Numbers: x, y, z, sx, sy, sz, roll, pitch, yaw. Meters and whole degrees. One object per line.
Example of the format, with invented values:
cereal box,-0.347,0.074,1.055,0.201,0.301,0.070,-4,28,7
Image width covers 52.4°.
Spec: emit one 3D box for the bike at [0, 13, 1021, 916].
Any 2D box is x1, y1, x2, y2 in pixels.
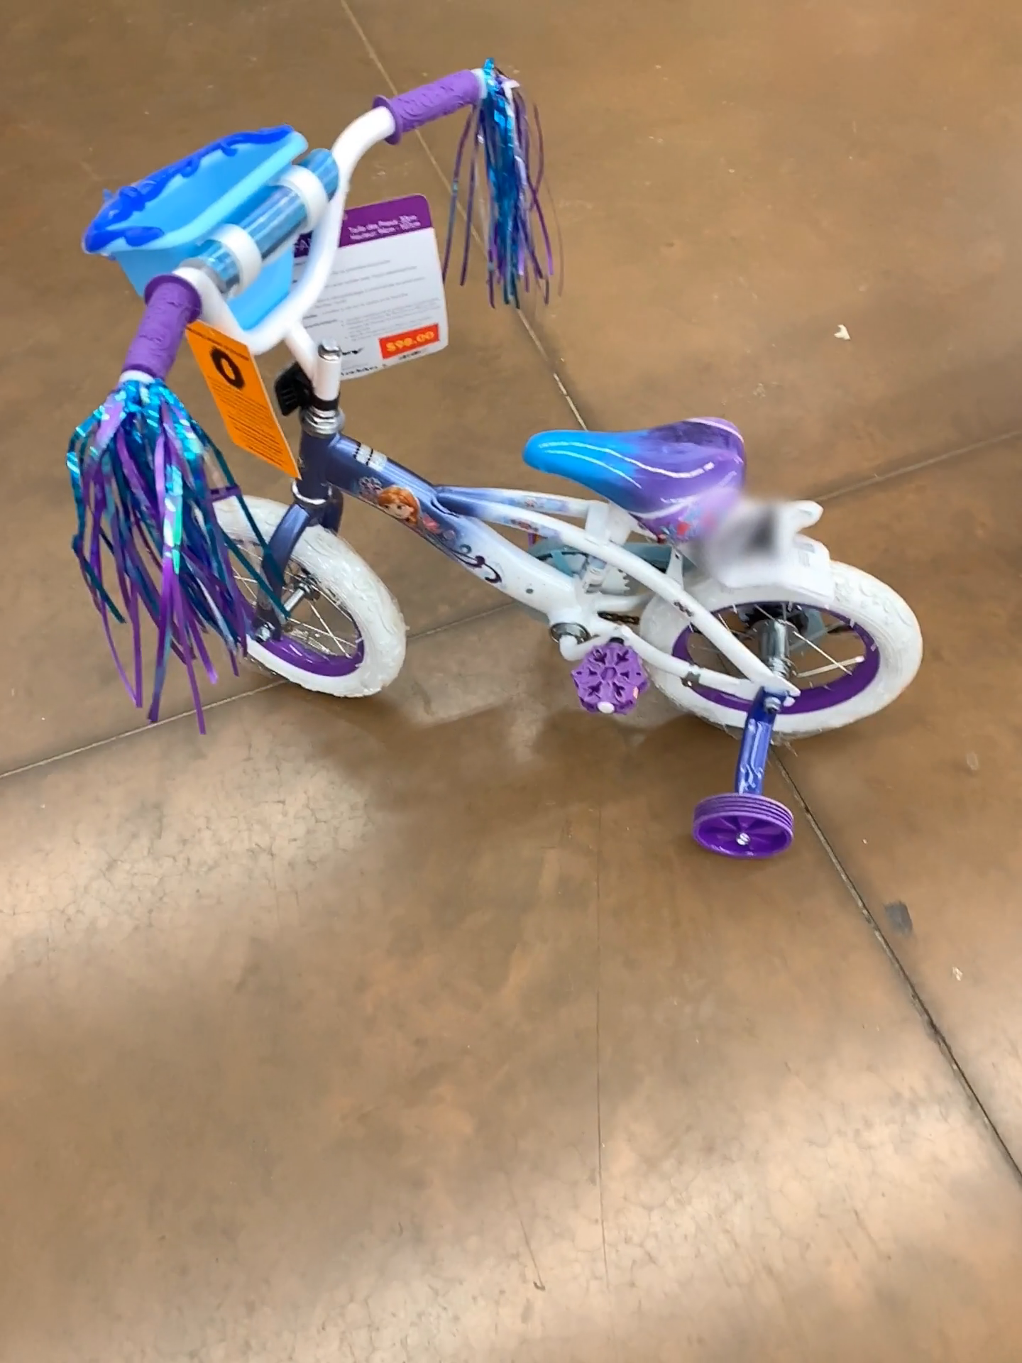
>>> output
bike,0.068,-0.135,0.953,0.651,0.644,0.474,3,58,7
